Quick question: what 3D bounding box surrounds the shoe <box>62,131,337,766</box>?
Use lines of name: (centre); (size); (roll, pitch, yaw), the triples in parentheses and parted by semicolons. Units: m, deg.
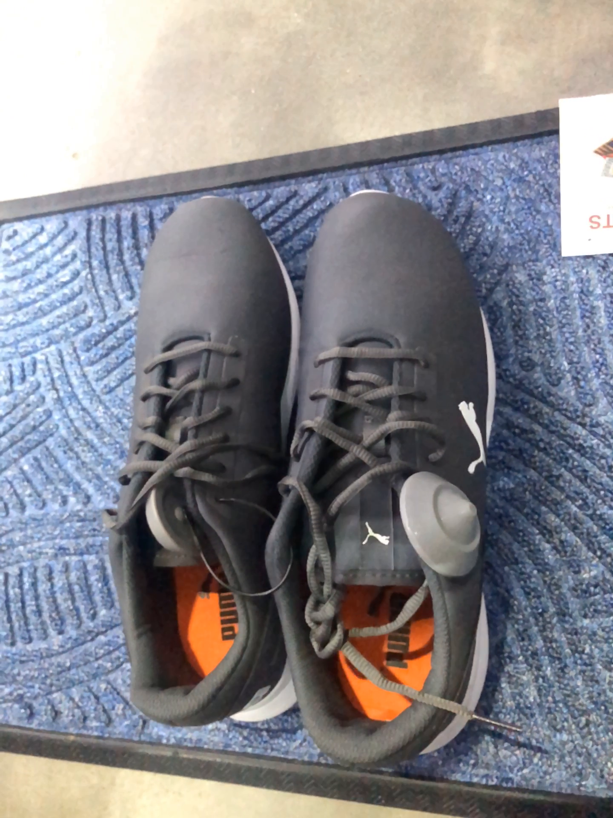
shoe: (-0.055, 0.018, 0.385); (0.110, 0.100, 0.300); (-5, 80, 18)

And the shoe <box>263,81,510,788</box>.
shoe: (0.043, 0.009, 0.351); (0.100, 0.100, 0.300); (-3, 81, 18)
